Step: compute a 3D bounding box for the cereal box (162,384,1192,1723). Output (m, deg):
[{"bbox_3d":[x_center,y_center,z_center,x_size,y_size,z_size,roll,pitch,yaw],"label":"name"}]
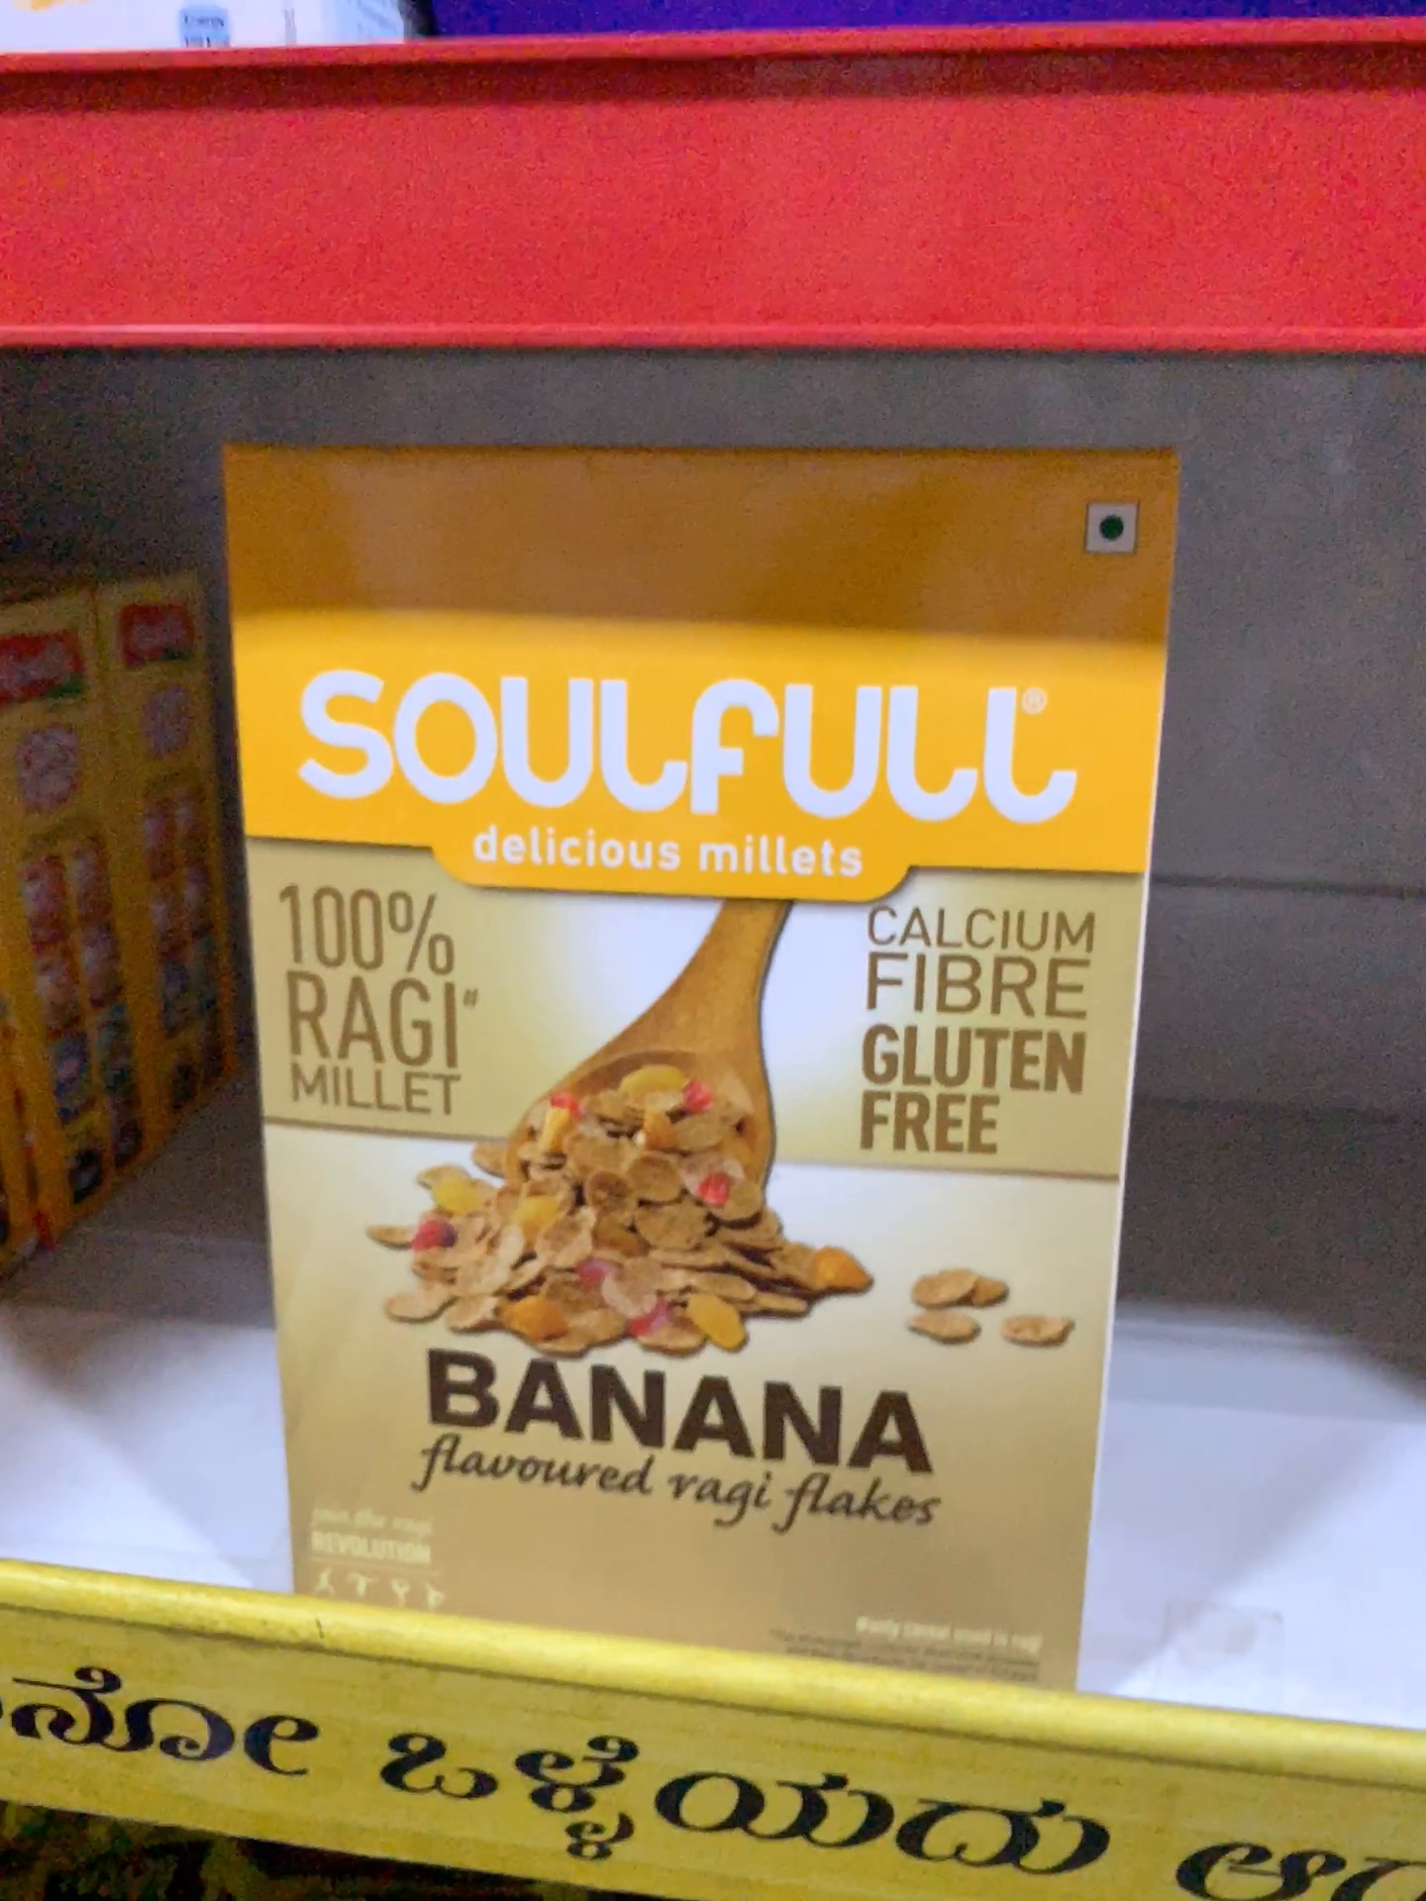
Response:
[{"bbox_3d":[-0.007,0.018,0.285,0.160,0.229,0.060,3,13,7],"label":"cereal box"}]
